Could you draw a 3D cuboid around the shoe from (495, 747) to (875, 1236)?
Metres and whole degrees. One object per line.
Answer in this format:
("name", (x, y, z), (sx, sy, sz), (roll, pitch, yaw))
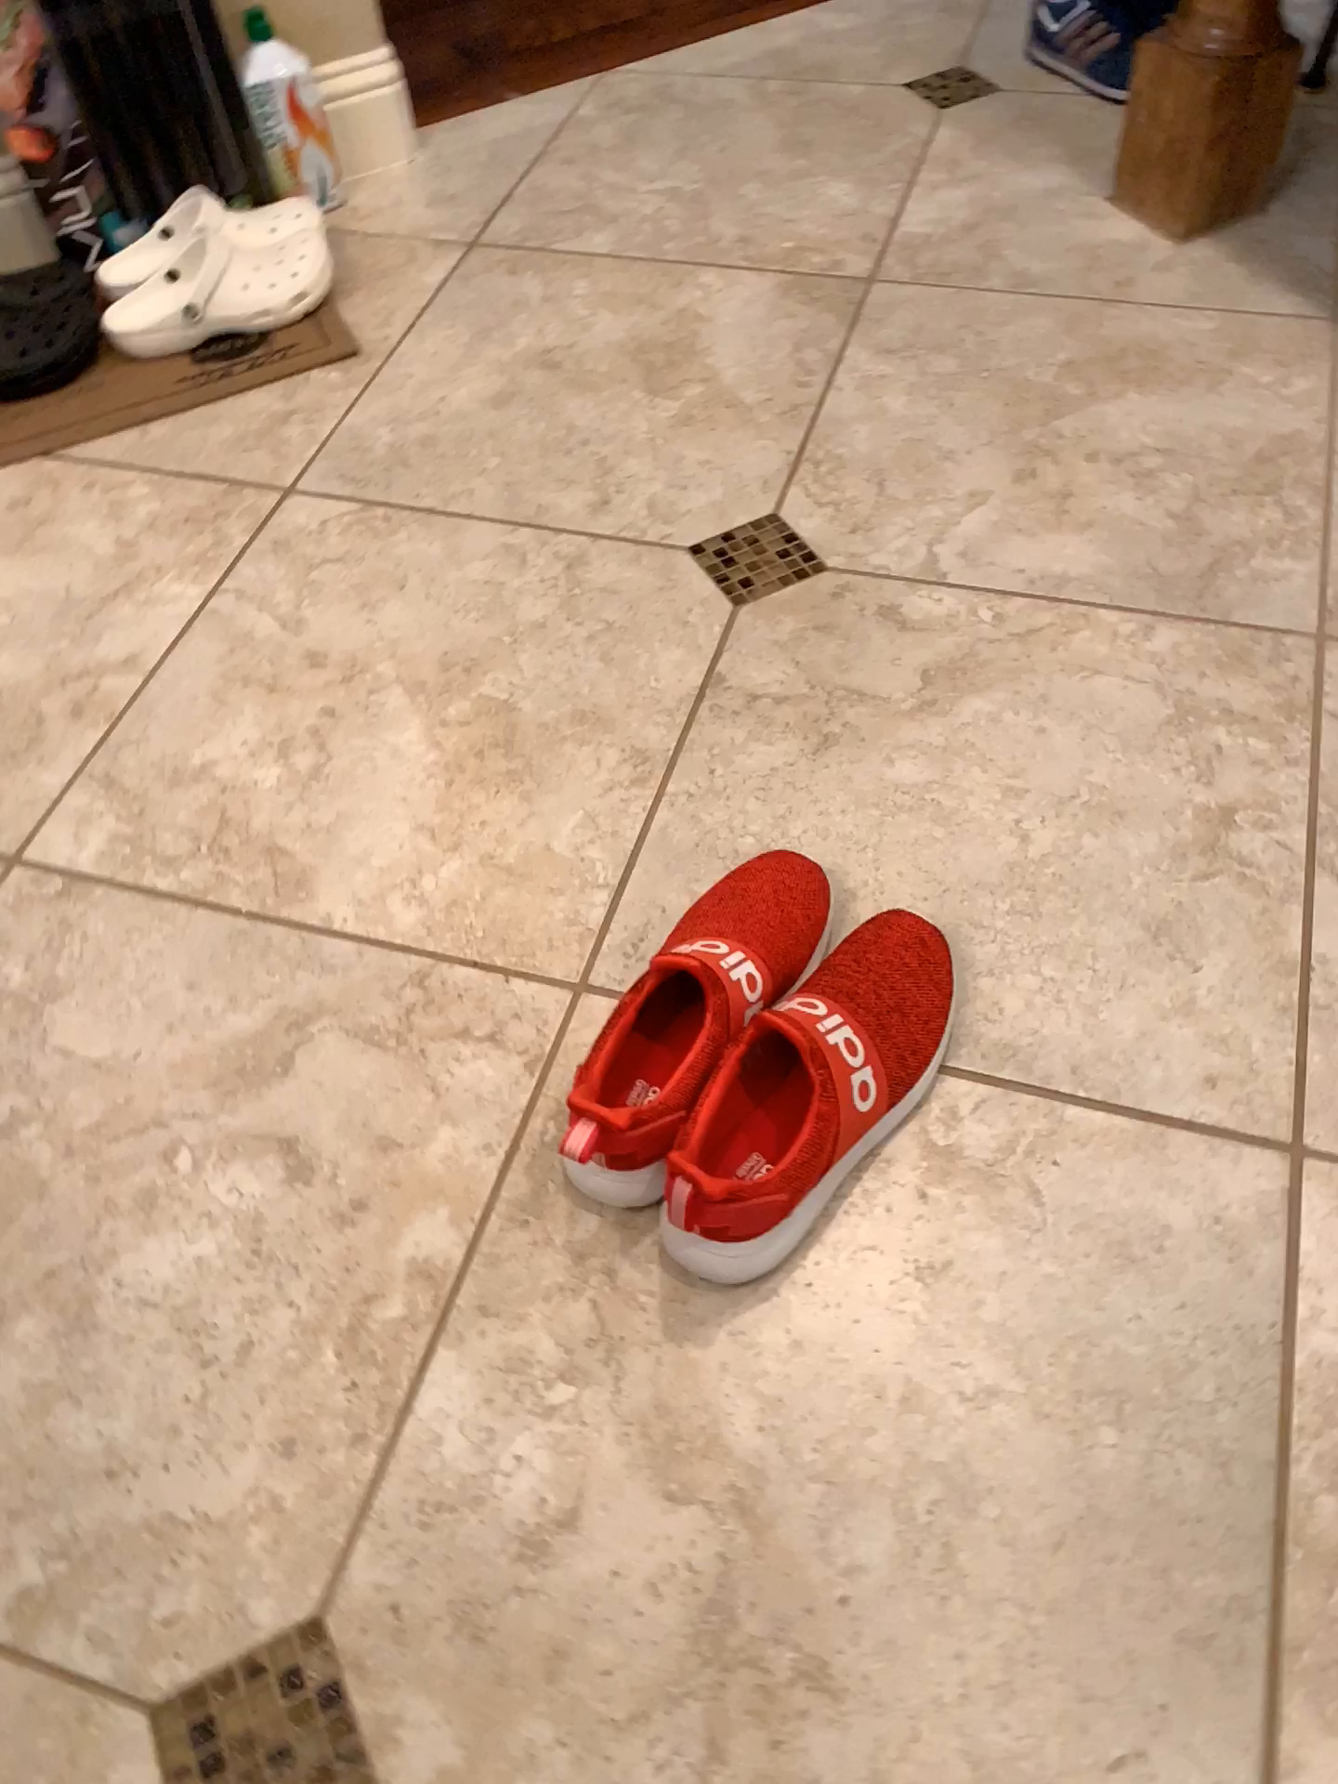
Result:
("shoe", (0.022, 0.059, 0.934), (0.118, 0.119, 0.301), (22, 57, 21))

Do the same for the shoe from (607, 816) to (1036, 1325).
("shoe", (0.105, 0.109, 0.894), (0.118, 0.119, 0.300), (30, 61, 25))
